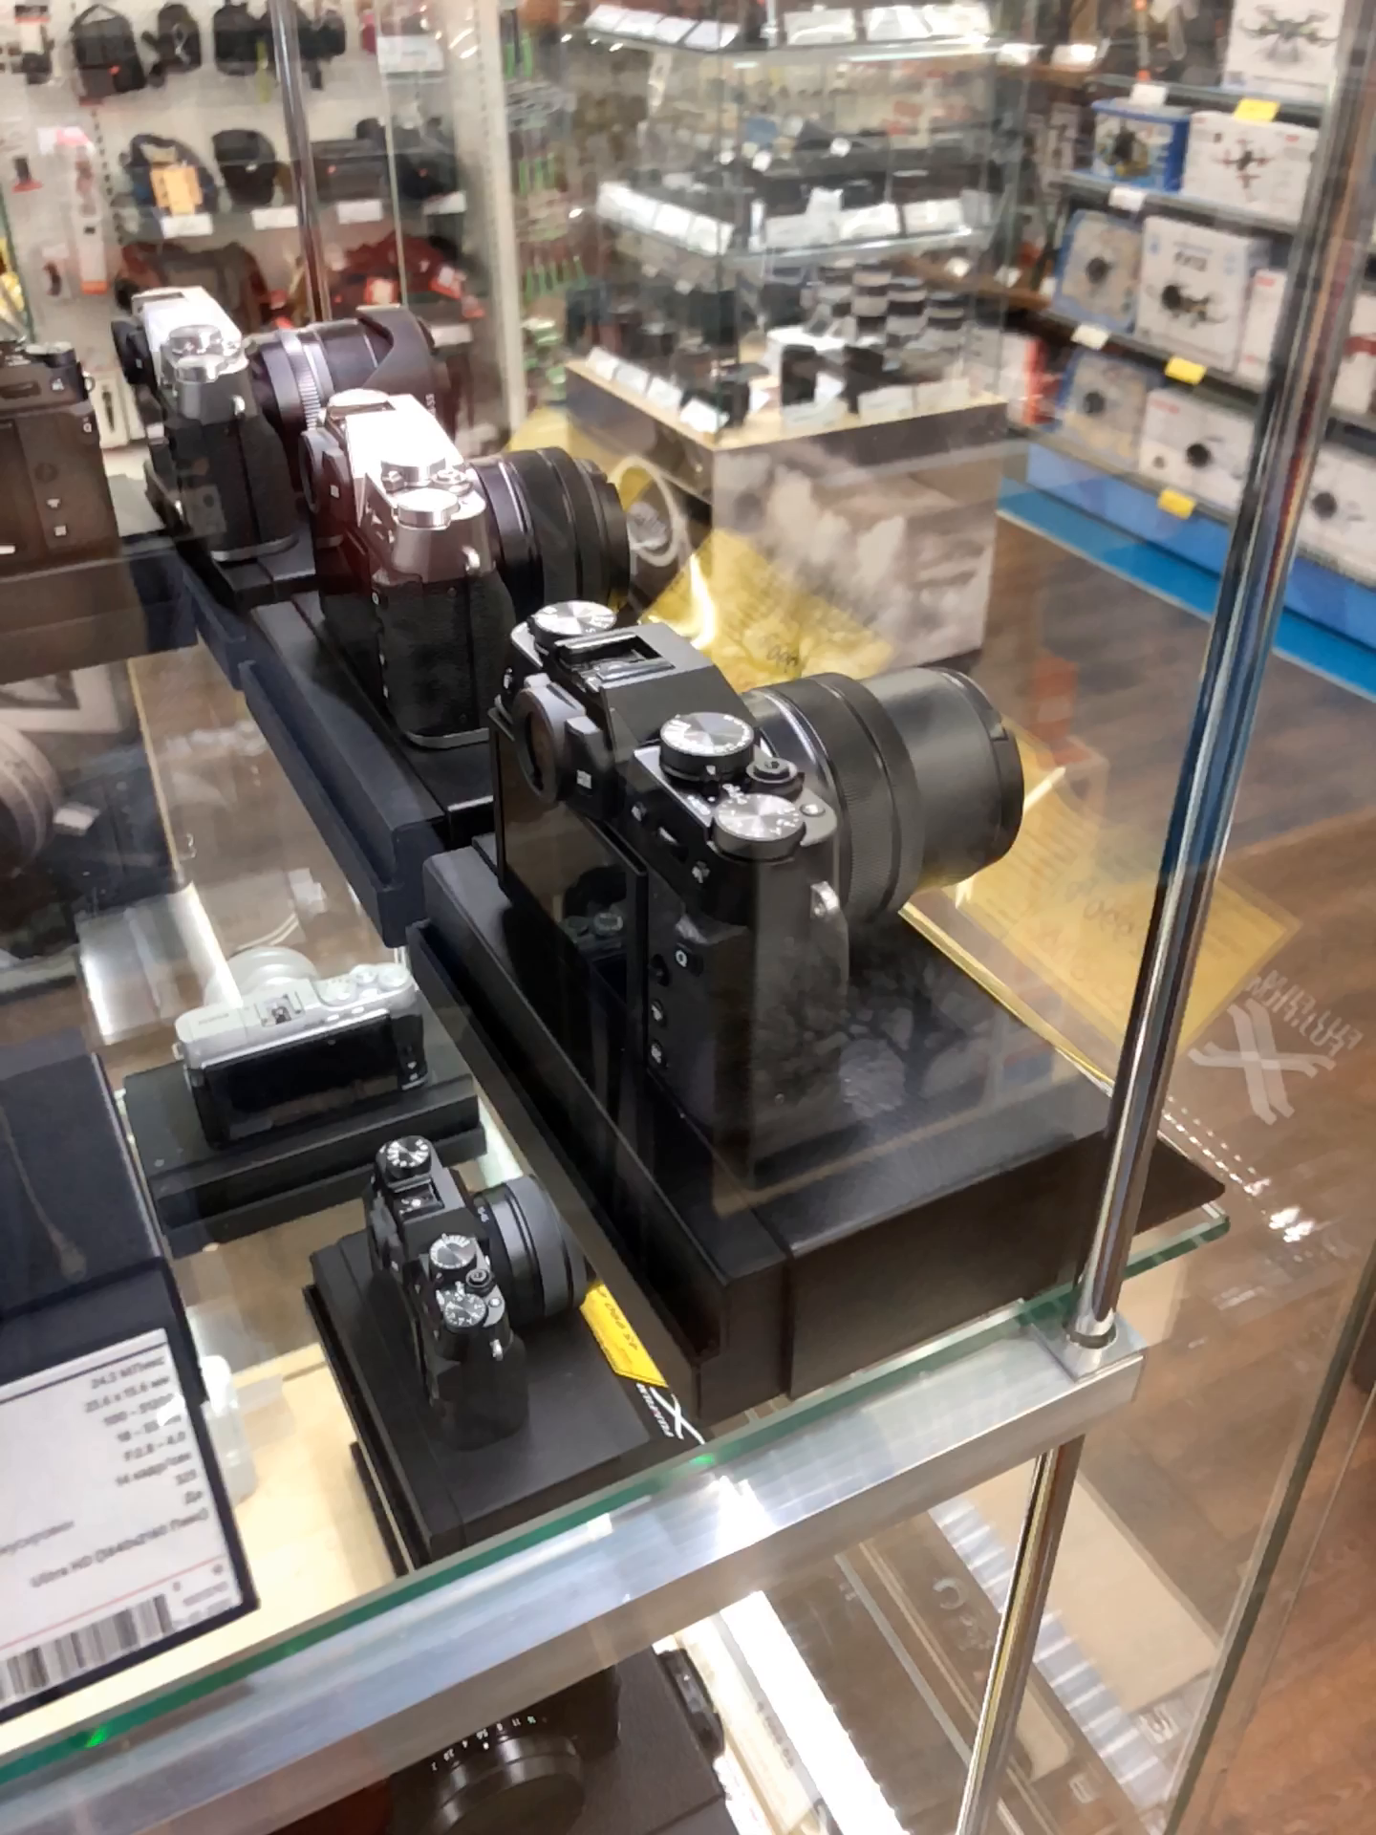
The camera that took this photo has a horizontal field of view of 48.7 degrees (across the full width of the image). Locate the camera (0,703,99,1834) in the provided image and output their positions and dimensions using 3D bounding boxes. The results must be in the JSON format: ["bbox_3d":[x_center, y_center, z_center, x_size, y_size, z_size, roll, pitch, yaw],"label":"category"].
[{"bbox_3d":[-0.175,0.042,0.244,0.114,0.089,0.120,-17,37,-23],"label":"camera"}]

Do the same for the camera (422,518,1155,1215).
[{"bbox_3d":[0.017,-0.021,0.345,0.110,0.089,0.114,-18,38,-24],"label":"camera"}]

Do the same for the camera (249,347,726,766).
[{"bbox_3d":[-0.063,-0.118,0.473,0.108,0.078,0.114,-16,37,-22],"label":"camera"}]
